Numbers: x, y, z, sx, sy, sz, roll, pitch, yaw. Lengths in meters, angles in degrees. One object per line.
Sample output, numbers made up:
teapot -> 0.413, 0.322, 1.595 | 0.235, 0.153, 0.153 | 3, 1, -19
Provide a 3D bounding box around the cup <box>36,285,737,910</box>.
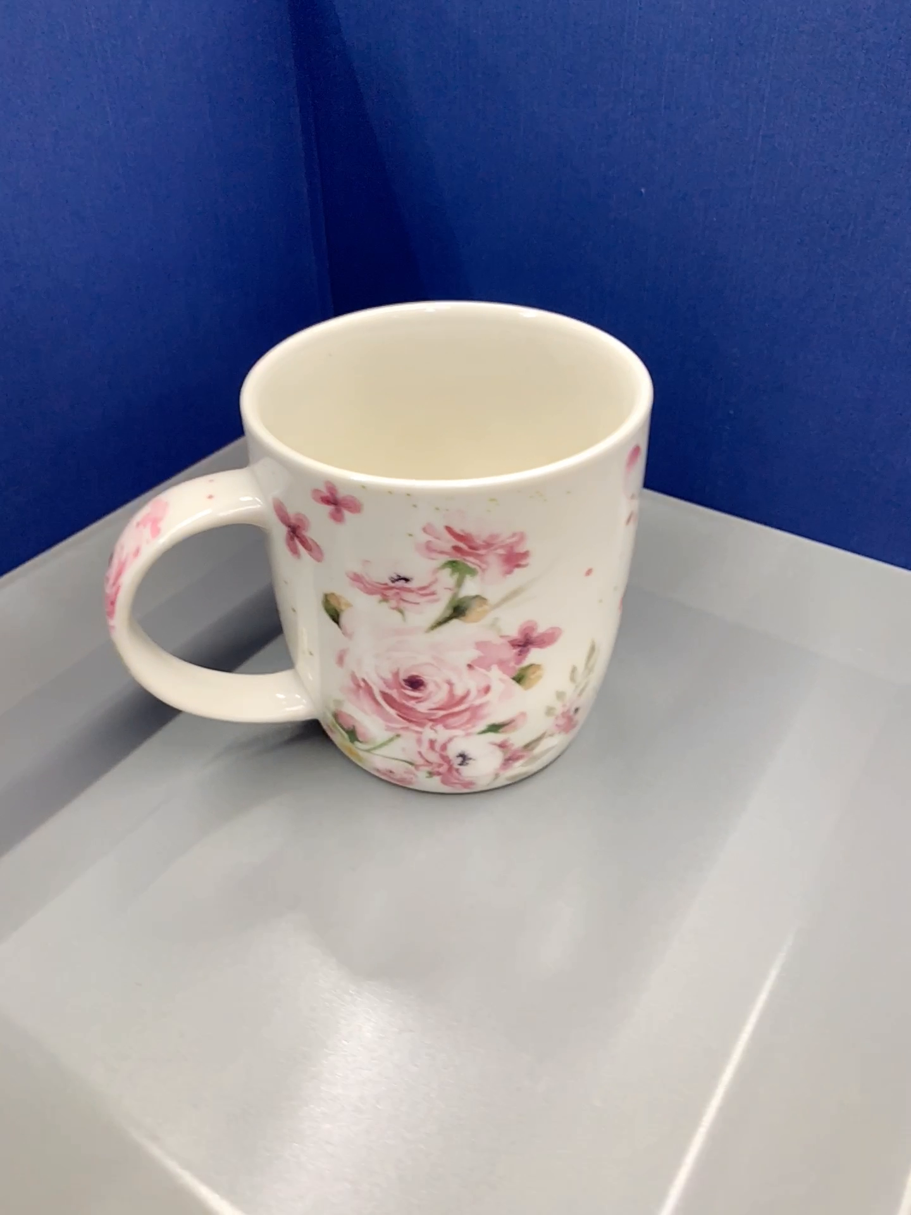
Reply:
cup -> -0.016, -0.008, 0.206 | 0.110, 0.087, 0.085 | -9, 37, -11
